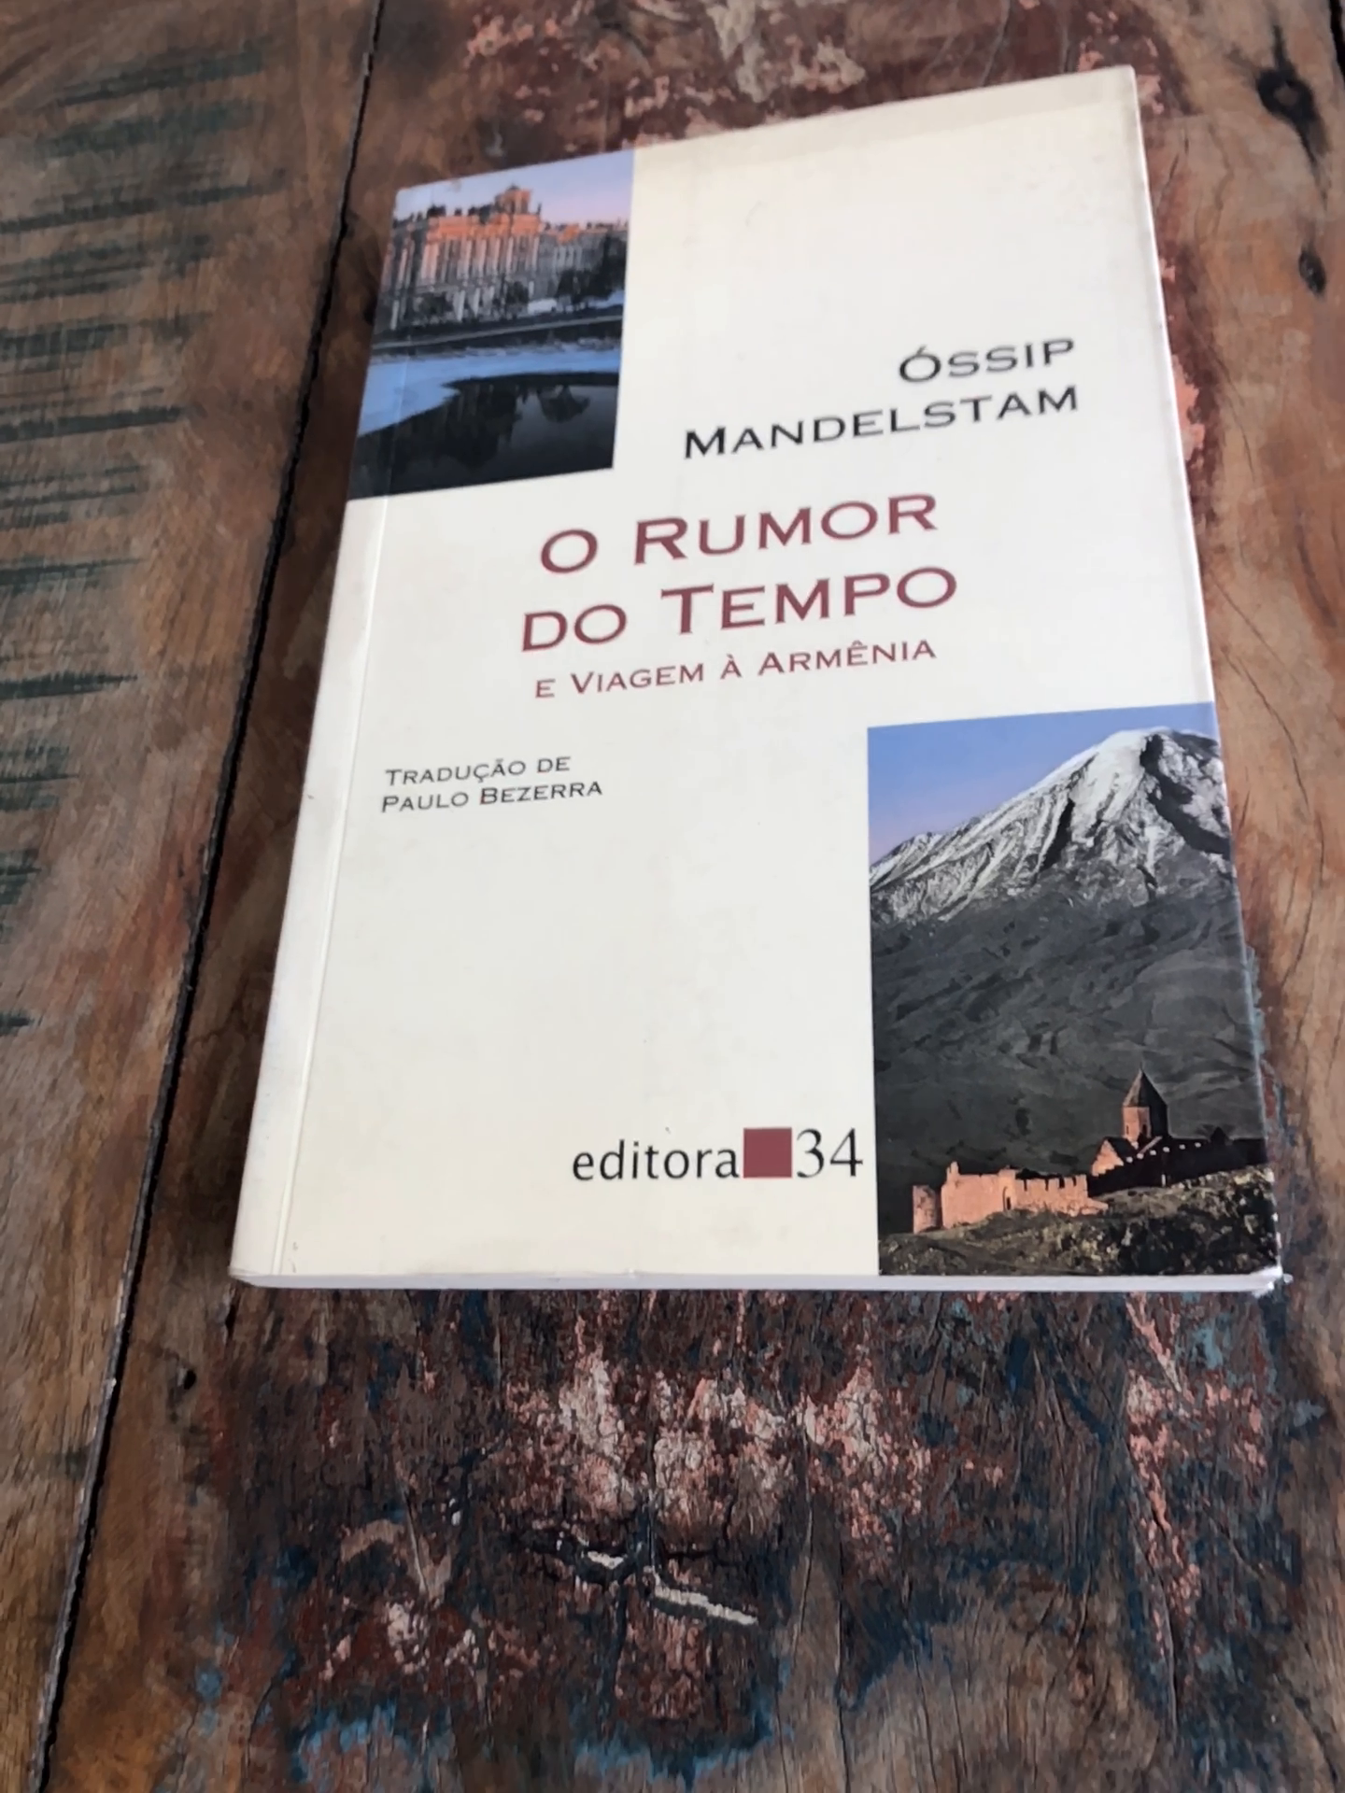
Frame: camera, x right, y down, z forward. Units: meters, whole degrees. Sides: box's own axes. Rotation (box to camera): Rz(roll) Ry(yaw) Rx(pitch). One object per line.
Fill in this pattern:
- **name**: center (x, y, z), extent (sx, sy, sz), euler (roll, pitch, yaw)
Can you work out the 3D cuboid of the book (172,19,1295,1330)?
- **book**: center (0.009, -0.043, 0.234), extent (0.140, 0.022, 0.208), euler (-3, 66, 14)
